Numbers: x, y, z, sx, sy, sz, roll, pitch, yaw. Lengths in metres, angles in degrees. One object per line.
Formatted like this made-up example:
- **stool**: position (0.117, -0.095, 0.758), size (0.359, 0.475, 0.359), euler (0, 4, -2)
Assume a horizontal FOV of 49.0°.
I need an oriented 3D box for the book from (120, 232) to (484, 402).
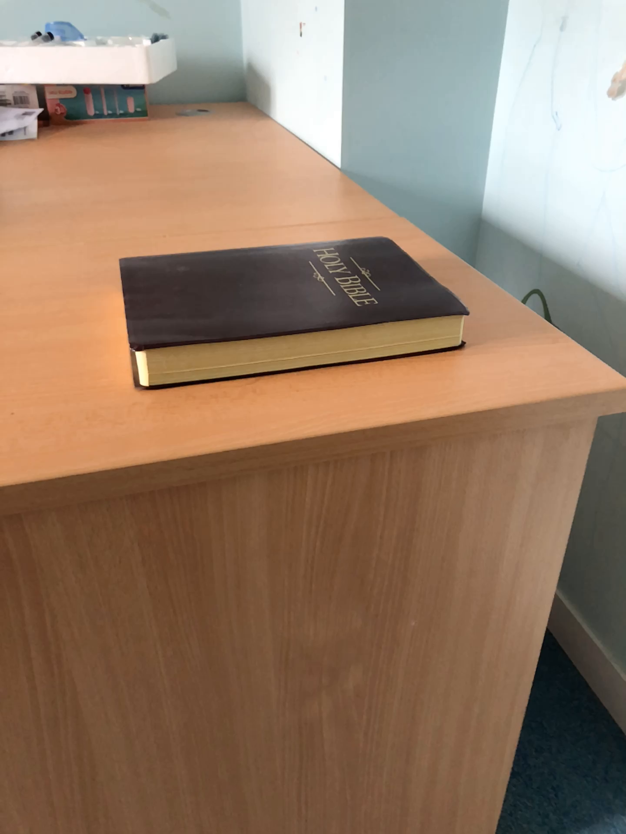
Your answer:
- **book**: position (-0.026, -0.105, 0.624), size (0.280, 0.040, 0.224), euler (-8, 33, -12)
